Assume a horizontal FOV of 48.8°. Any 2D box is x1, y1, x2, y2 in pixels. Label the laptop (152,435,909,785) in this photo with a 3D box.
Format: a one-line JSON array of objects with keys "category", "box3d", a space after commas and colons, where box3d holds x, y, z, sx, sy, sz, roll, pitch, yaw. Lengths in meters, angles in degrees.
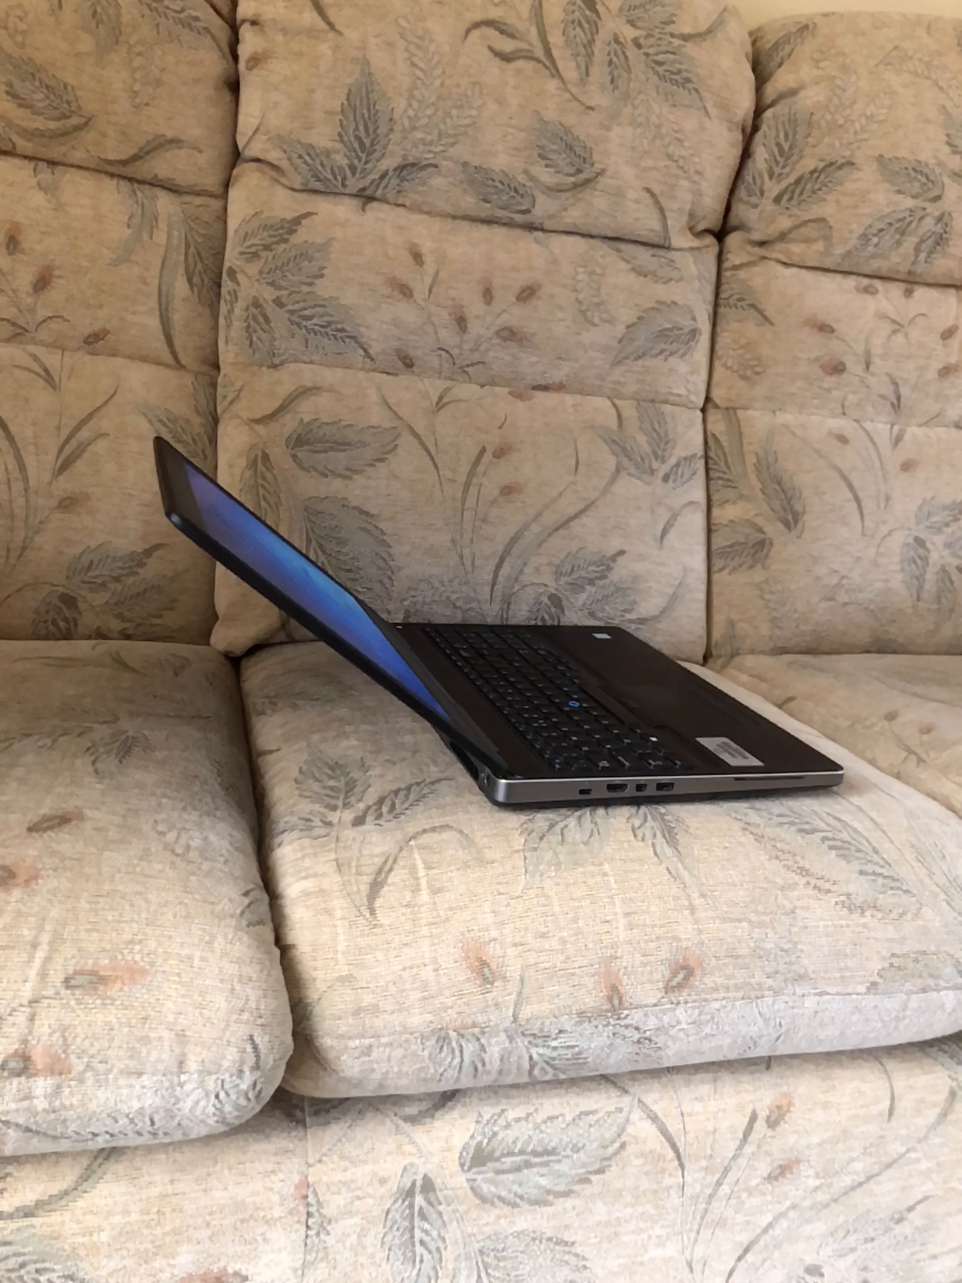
[{"category": "laptop", "box3d": [-0.007, -0.039, 0.798, 0.451, 0.157, 0.356, 1, 18, -18]}]
